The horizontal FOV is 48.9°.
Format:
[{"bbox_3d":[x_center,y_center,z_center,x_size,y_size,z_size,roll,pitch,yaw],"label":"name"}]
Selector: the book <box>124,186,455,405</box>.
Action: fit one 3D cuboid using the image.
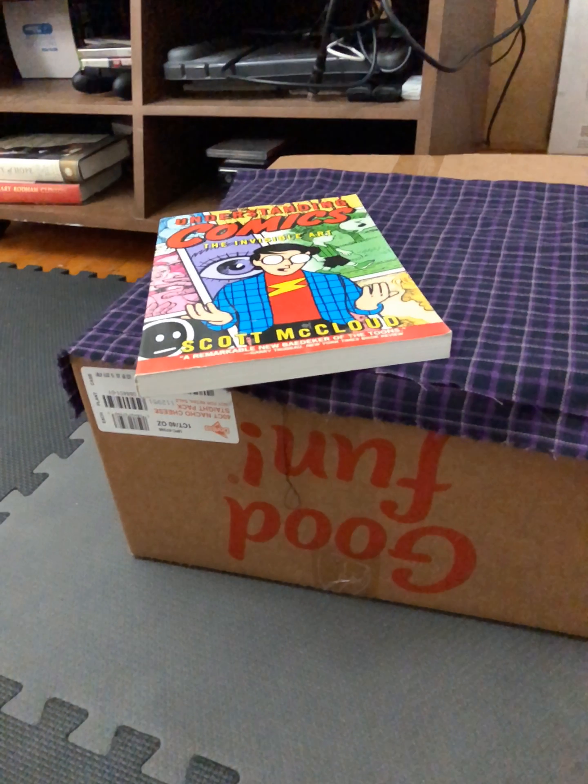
[{"bbox_3d":[-0.017,-0.086,0.447,0.170,0.020,0.272,-7,33,-4],"label":"book"}]
